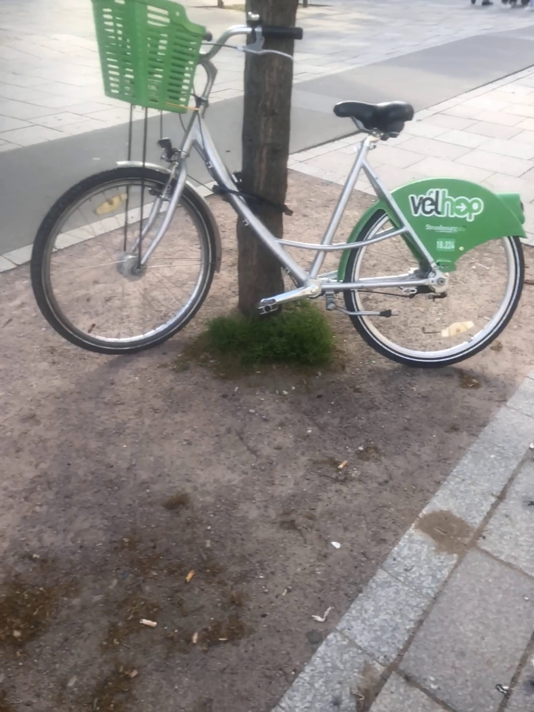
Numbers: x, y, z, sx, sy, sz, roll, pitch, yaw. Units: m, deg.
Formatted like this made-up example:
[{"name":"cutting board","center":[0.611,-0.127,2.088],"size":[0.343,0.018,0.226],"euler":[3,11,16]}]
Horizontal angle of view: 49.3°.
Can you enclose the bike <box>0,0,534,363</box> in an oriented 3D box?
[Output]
[{"name":"bike","center":[0.099,-0.563,2.006],"size":[1.719,1.114,0.313],"euler":[-4,35,-12]}]
